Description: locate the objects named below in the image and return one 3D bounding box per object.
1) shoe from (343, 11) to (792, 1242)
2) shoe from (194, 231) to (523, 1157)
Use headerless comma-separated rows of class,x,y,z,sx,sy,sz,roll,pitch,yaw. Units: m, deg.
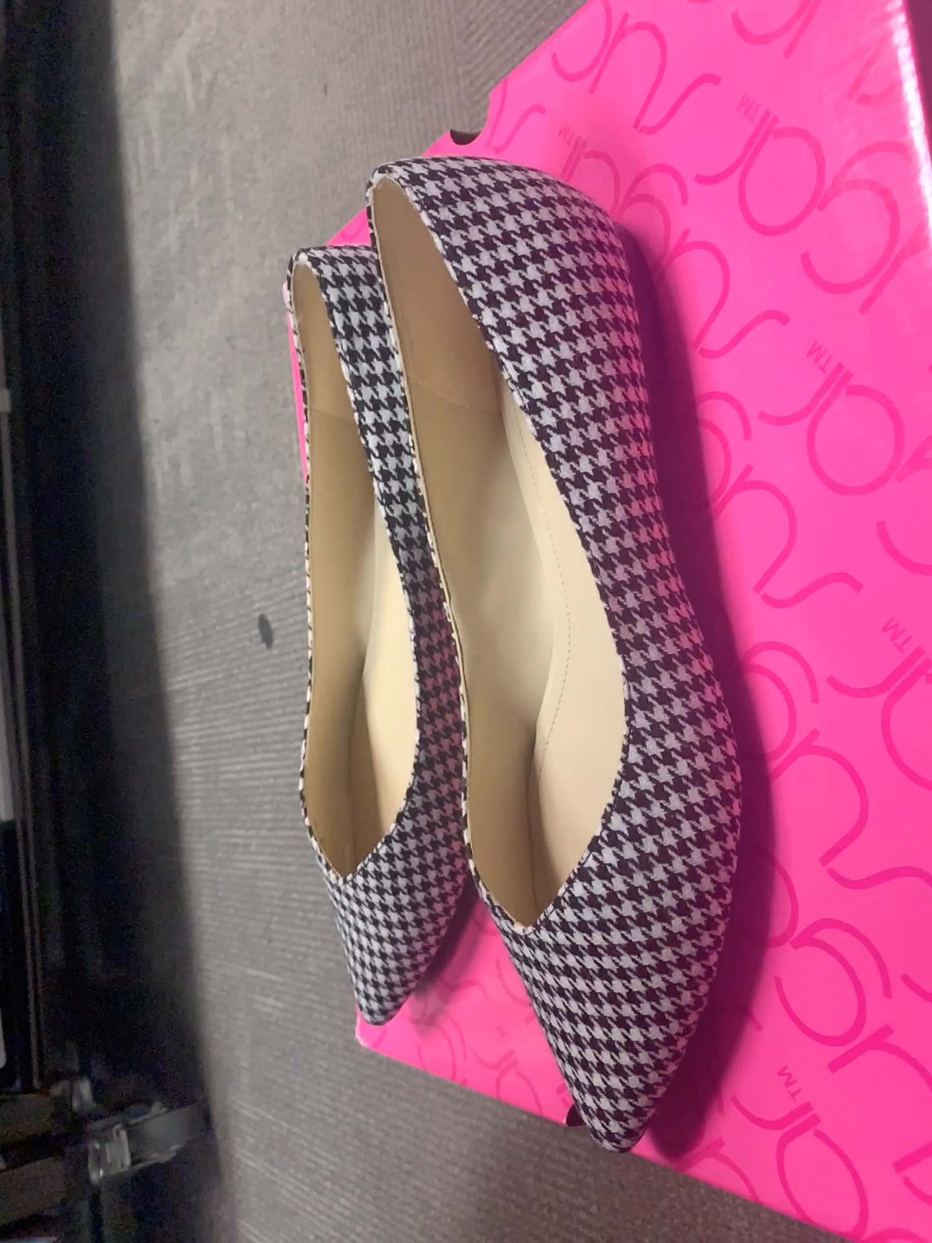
shoe,0.022,0.004,0.260,0.081,0.060,0.280,-9,84,52
shoe,-0.042,0.023,0.324,0.081,0.060,0.270,14,103,51
